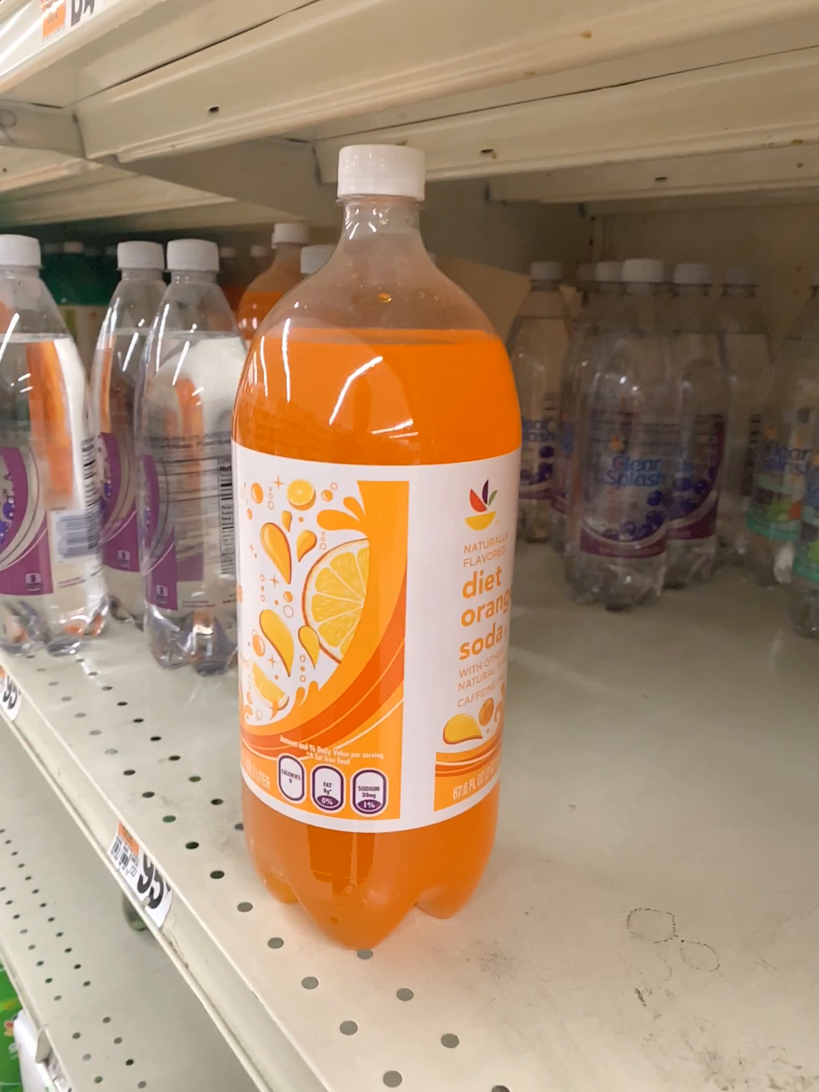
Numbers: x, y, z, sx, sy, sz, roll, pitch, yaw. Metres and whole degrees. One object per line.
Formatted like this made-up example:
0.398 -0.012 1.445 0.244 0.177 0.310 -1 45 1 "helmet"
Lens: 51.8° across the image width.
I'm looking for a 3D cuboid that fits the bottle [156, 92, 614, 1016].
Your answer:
-0.016 0.001 0.327 0.110 0.289 0.120 0 18 0 "bottle"
